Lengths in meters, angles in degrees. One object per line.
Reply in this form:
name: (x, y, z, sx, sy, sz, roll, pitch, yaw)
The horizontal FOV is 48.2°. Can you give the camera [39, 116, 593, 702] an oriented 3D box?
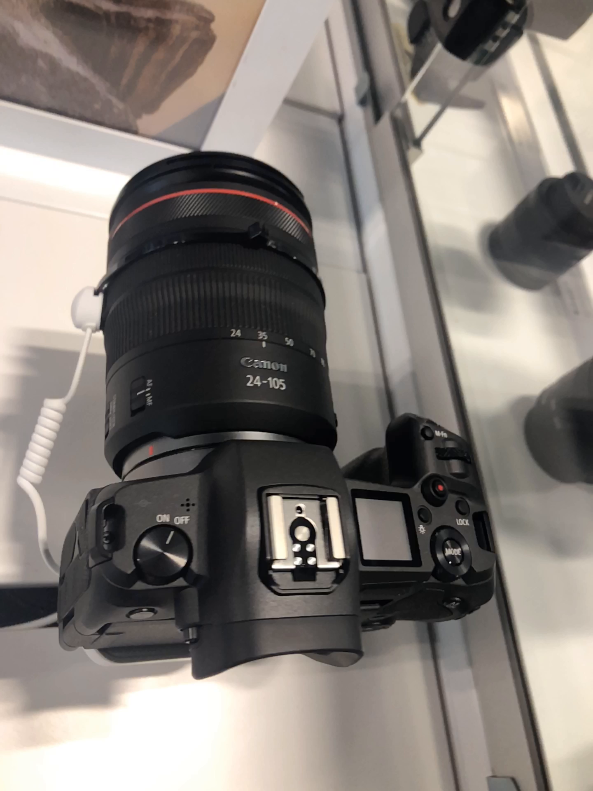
camera: (-0.003, 0.011, 0.219, 0.139, 0.086, 0.145, 5, 63, -26)
